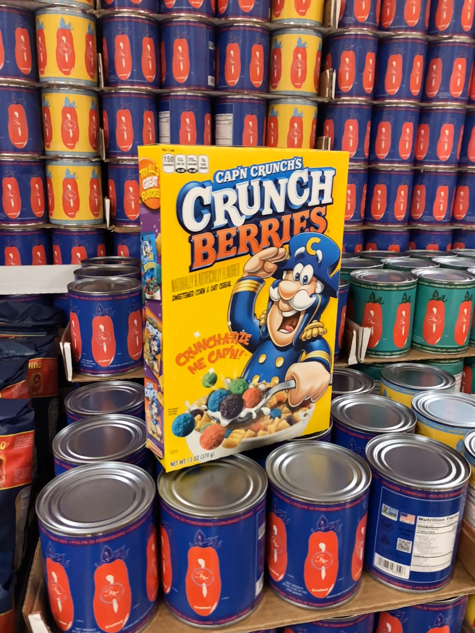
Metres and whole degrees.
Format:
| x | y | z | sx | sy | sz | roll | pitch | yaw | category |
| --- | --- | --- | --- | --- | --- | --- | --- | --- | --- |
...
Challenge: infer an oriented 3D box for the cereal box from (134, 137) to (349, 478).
| x | y | z | sx | sy | sz | roll | pitch | yaw | category |
| --- | --- | --- | --- | --- | --- | --- | --- | --- | --- |
| 0.005 | -0.014 | 0.512 | 0.190 | 0.299 | 0.060 | -7 | 17 | -28 | cereal box |
